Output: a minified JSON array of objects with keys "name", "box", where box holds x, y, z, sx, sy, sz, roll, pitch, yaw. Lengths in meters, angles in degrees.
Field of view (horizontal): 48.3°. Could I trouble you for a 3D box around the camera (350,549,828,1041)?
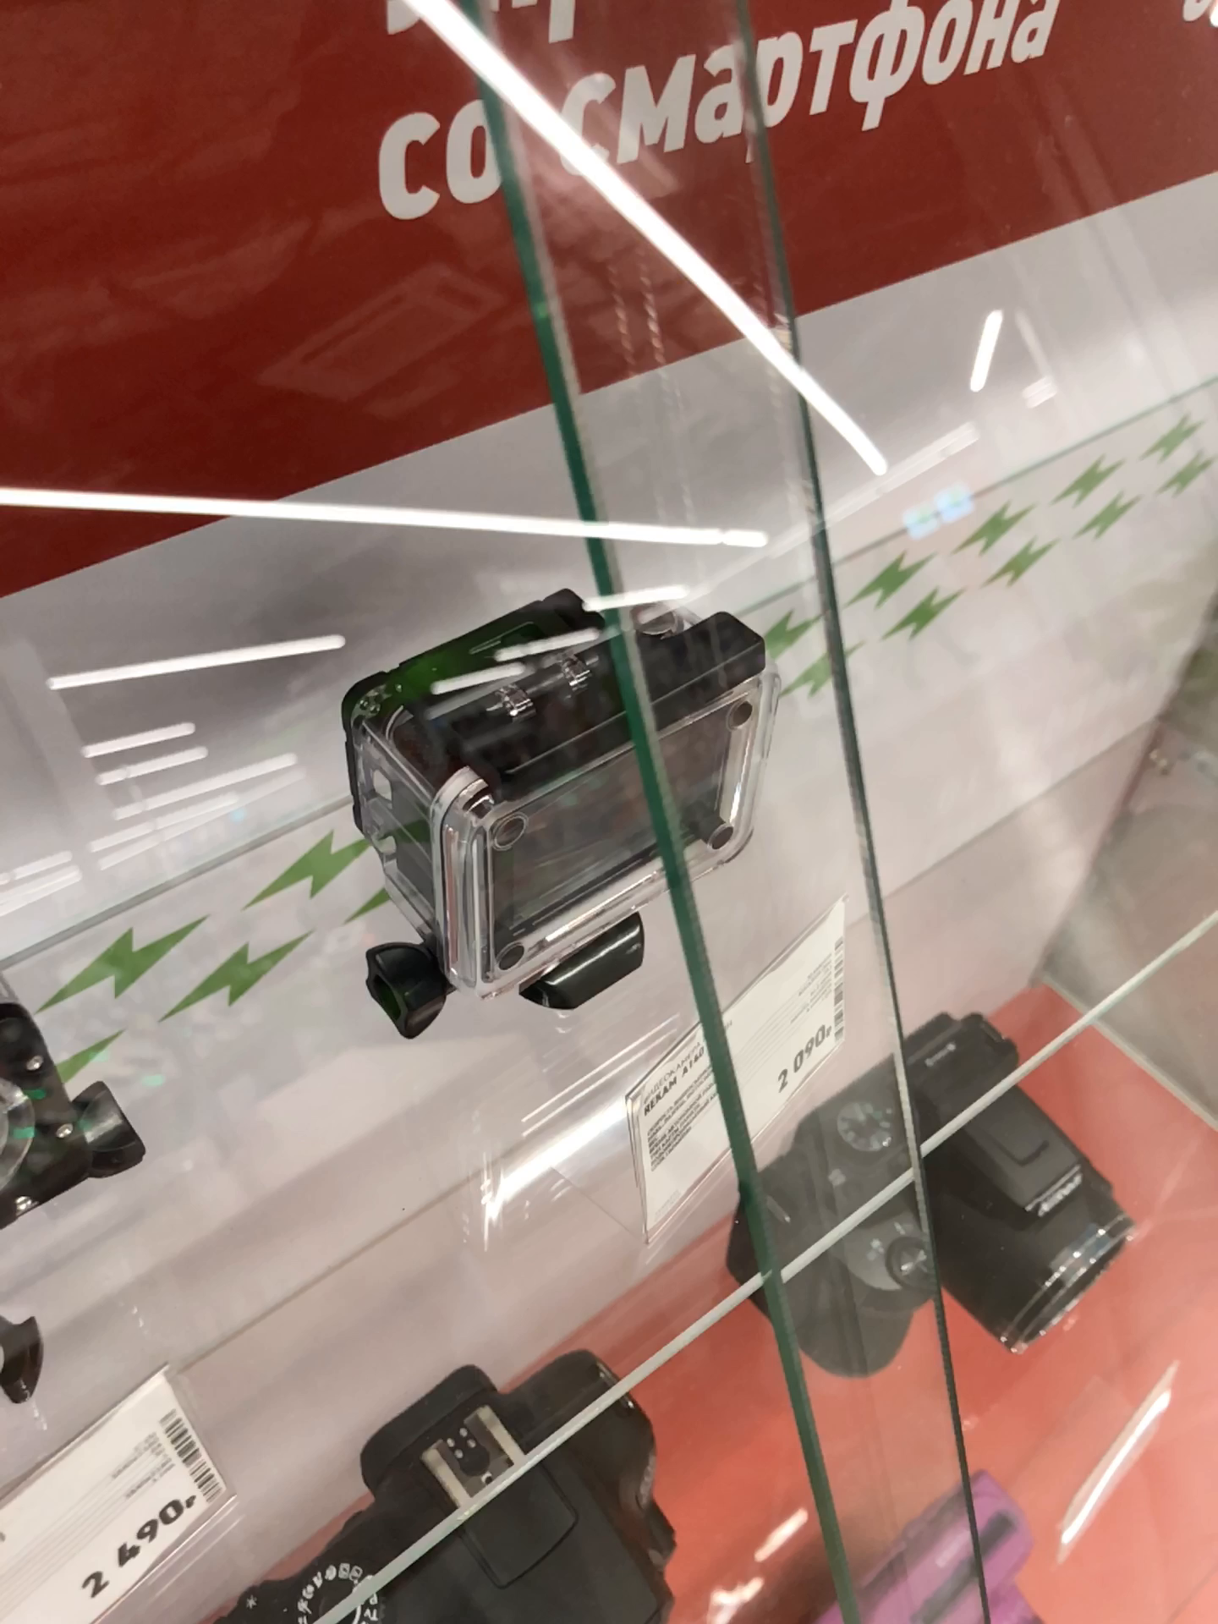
[{"name":"camera","box":[-0.004,-0.005,0.255,0.075,0.053,0.040,-30,55,-30]}]
